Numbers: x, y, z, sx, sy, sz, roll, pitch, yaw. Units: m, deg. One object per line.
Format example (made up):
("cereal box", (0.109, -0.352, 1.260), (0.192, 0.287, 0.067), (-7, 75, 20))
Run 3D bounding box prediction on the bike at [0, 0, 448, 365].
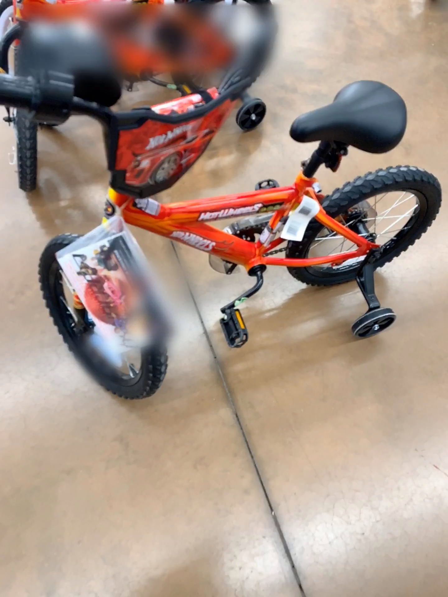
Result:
("bike", (0.010, -0.298, 1.022), (0.994, 0.822, 0.504), (-12, 60, -1))
